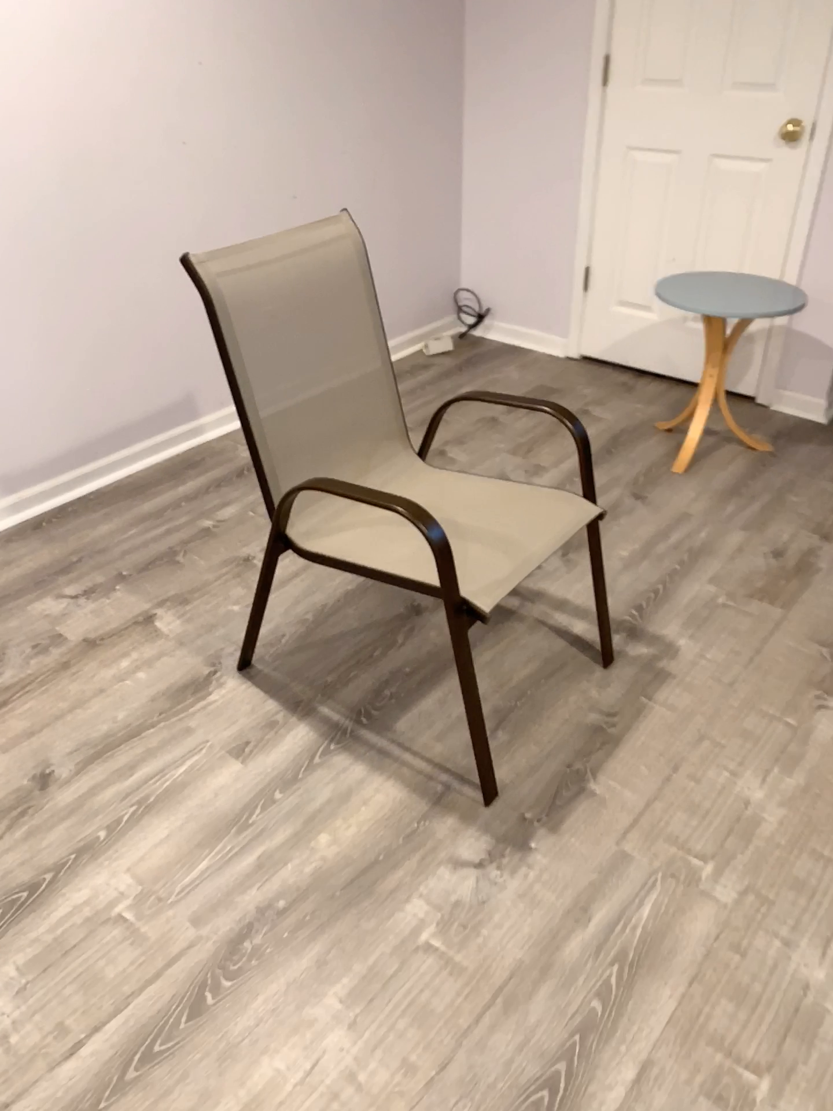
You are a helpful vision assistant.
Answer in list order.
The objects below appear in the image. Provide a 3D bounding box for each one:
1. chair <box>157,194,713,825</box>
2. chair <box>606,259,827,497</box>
[{"bbox_3d":[0.036,-0.141,1.626,0.716,0.873,0.568,21,38,30],"label":"chair"},{"bbox_3d":[0.896,-0.553,2.593,0.435,0.526,0.427,21,38,30],"label":"chair"}]
